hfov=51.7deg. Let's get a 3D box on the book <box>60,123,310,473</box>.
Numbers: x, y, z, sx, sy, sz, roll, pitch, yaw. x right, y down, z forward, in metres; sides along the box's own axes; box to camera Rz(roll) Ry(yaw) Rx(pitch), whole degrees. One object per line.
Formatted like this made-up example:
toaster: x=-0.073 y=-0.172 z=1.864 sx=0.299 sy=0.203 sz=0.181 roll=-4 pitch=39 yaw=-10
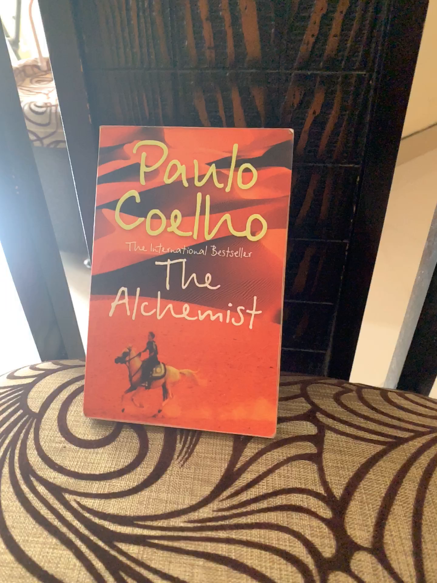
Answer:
book: x=-0.018 y=0.000 z=0.277 sx=0.140 sy=0.200 sz=0.030 roll=1 pitch=-5 yaw=3
